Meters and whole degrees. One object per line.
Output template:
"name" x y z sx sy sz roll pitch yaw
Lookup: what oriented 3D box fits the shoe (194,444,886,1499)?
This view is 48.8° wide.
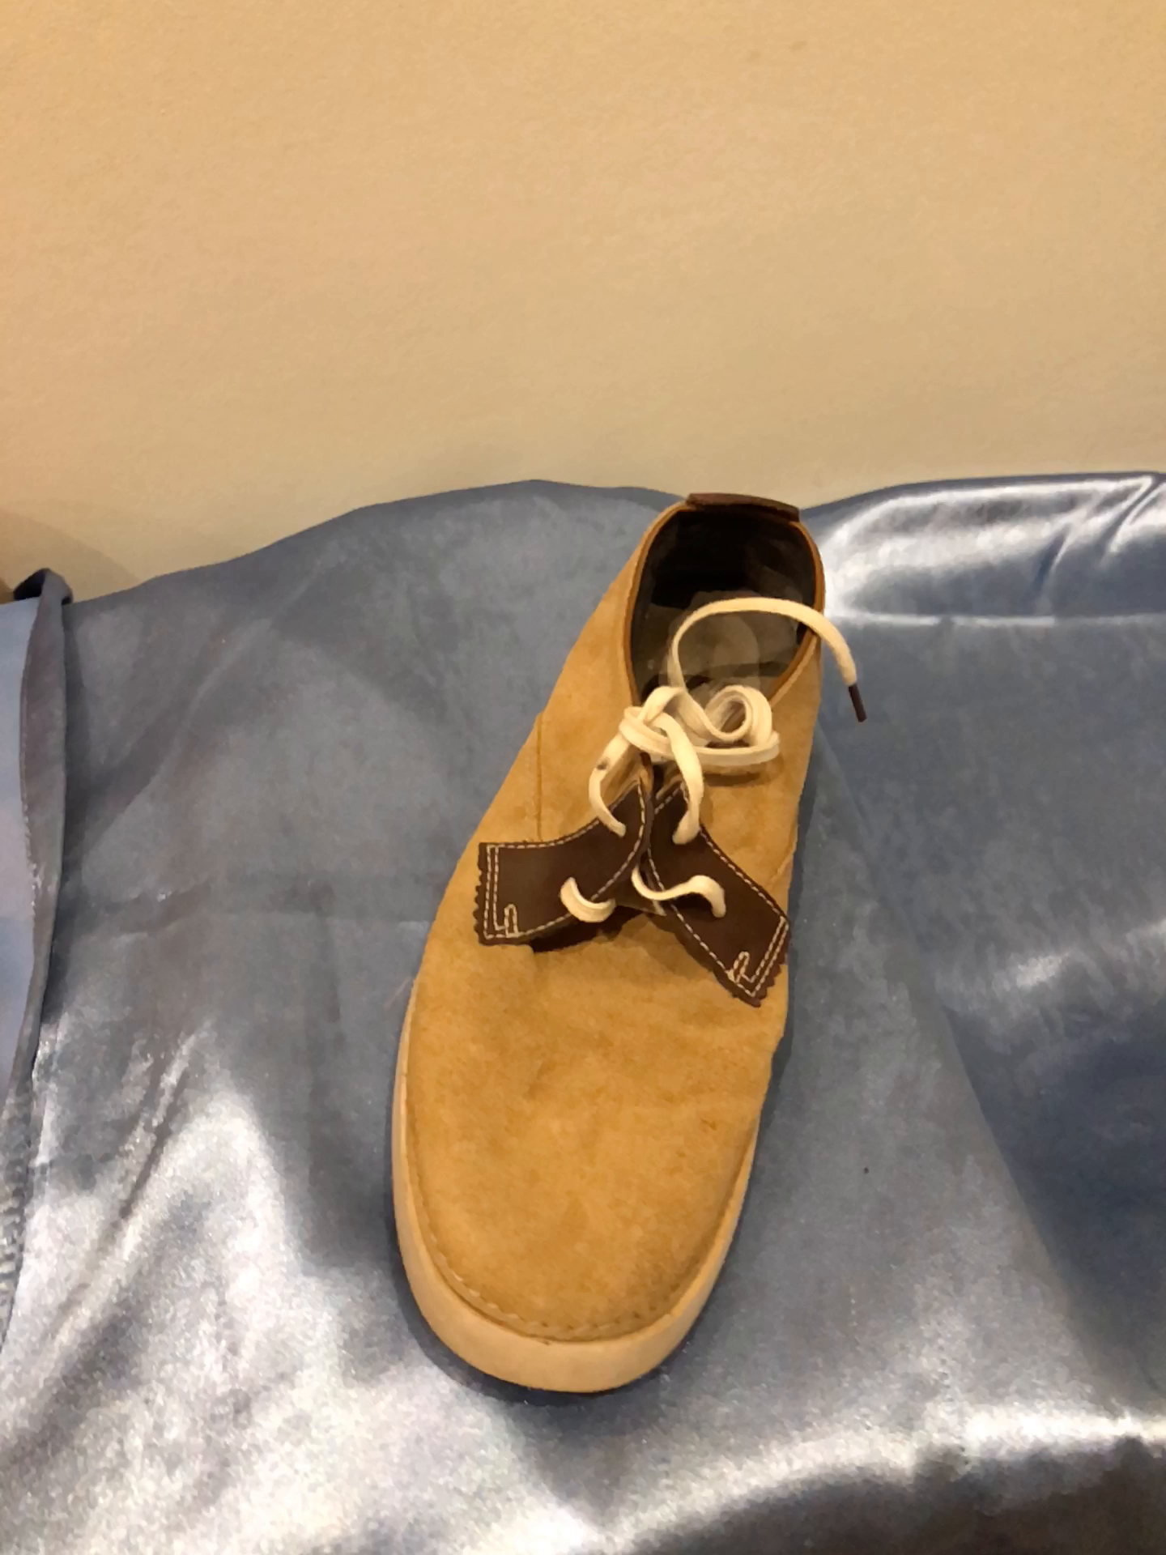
"shoe" 0.009 0.041 0.417 0.120 0.119 0.302 12 52 9
